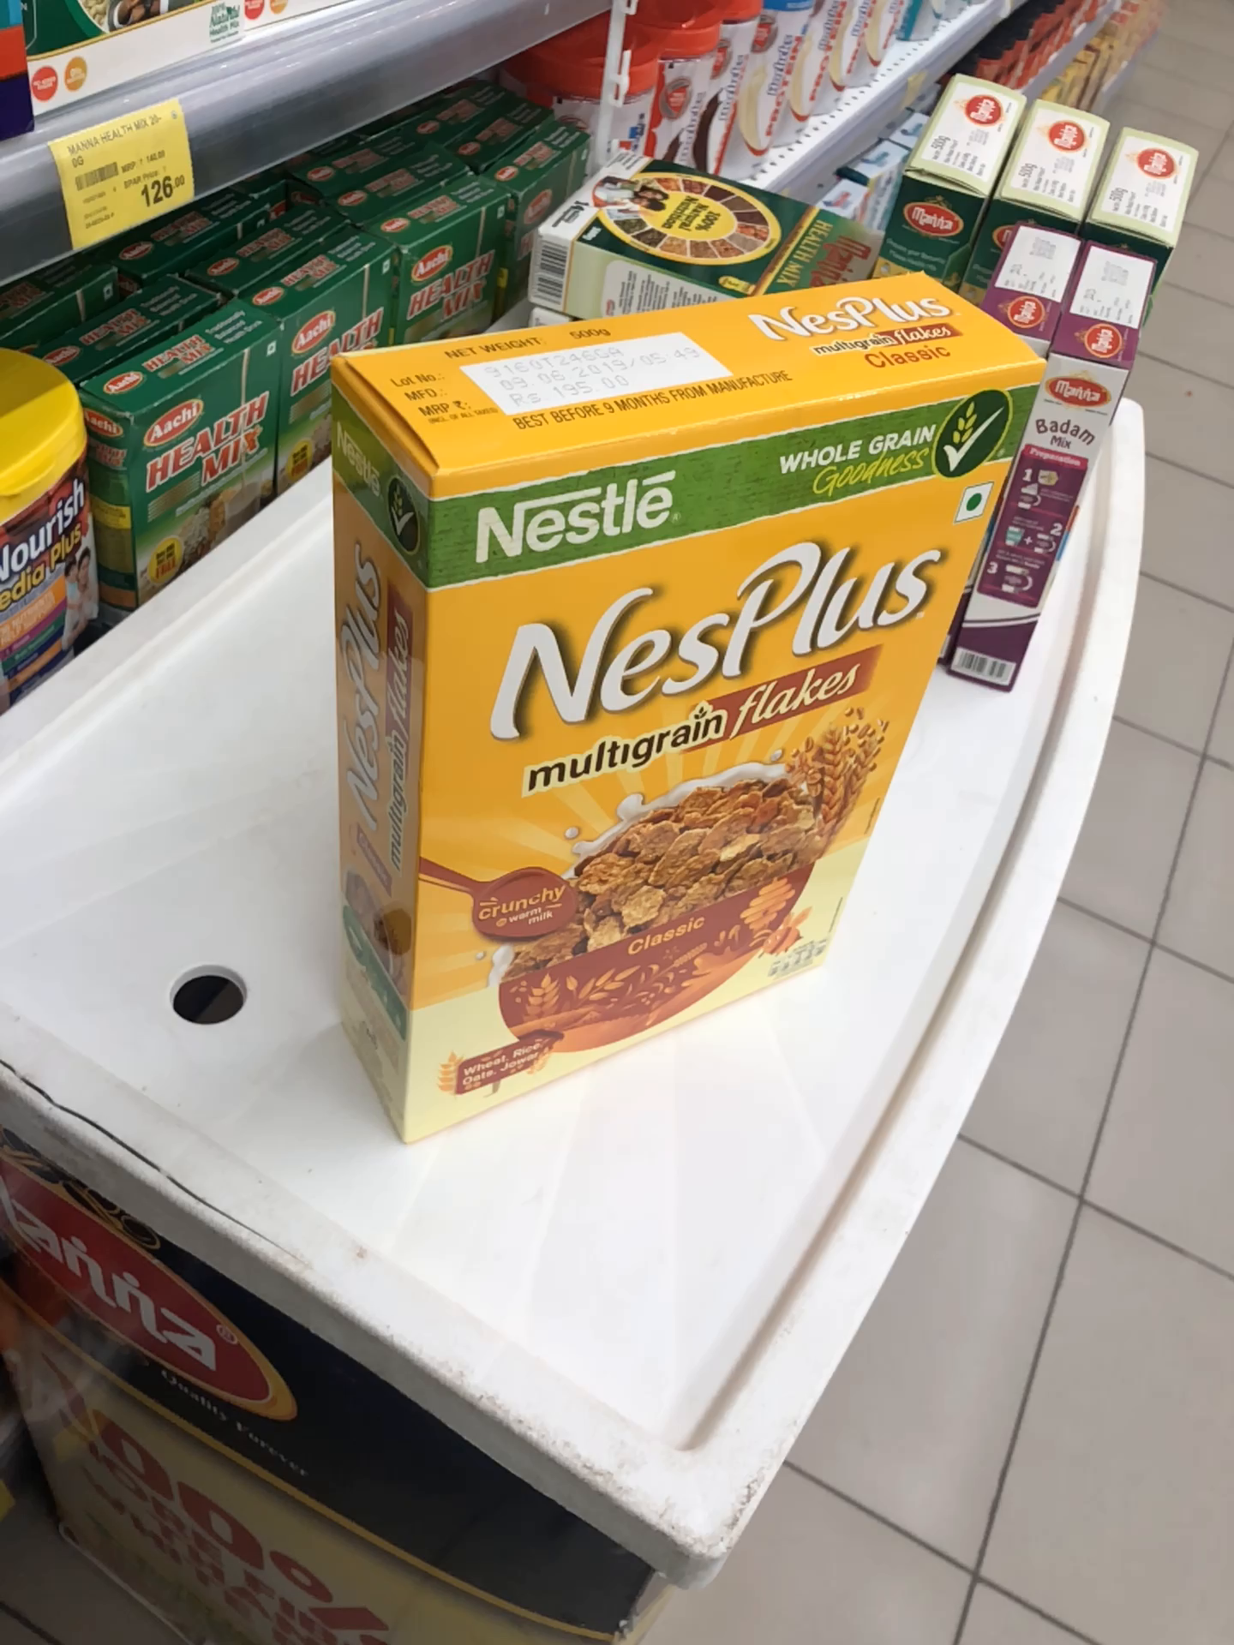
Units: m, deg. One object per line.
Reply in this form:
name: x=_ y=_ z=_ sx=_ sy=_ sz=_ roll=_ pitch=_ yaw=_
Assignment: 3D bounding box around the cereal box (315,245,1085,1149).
cereal box: x=0.010 y=-0.032 z=0.452 sx=0.200 sy=0.269 sz=0.070 roll=-20 pitch=53 yaw=-28
